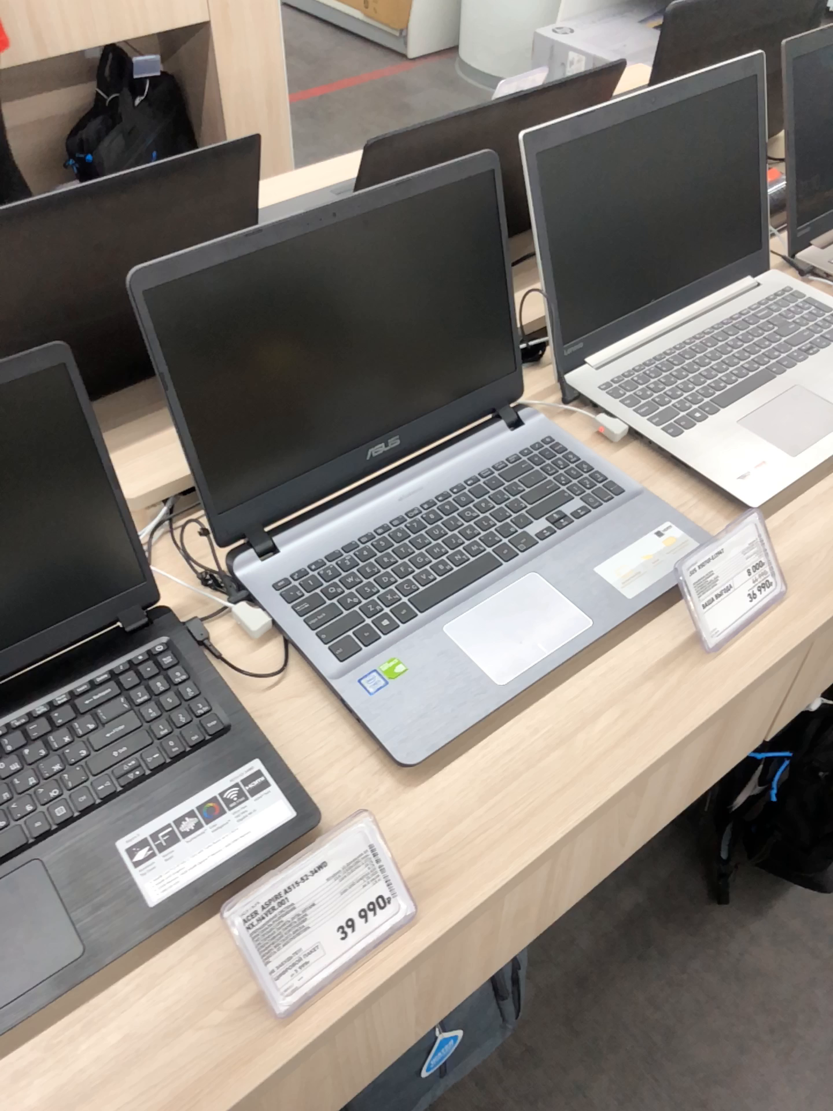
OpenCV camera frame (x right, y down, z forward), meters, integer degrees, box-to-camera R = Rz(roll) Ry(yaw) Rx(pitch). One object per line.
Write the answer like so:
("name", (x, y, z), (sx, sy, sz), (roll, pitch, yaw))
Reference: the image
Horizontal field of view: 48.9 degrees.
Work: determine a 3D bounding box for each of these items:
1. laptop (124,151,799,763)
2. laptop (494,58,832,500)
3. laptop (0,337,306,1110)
("laptop", (0.027, -0.105, 0.726), (0.345, 0.226, 0.329), (-30, 55, -27))
("laptop", (0.348, -0.299, 0.926), (0.371, 0.220, 0.333), (-31, 56, -28))
("laptop", (-0.287, 0.089, 0.539), (0.333, 0.222, 0.292), (-28, 53, -26))
